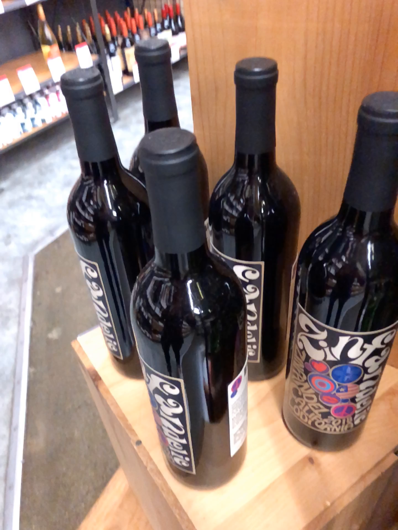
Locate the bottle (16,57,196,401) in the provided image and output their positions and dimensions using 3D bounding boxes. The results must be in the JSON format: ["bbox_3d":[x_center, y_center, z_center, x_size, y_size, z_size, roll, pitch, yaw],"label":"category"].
[{"bbox_3d":[-0.067,-0.010,0.399,0.077,0.304,0.080,-3,40,3],"label":"bottle"}]

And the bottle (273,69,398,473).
[{"bbox_3d":[0.108,0.033,0.322,0.080,0.310,0.077,-3,40,3],"label":"bottle"}]

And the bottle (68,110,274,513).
[{"bbox_3d":[-0.006,0.057,0.295,0.070,0.286,0.073,-3,40,3],"label":"bottle"}]

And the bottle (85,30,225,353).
[{"bbox_3d":[-0.026,-0.044,0.398,0.080,0.280,0.077,-3,40,3],"label":"bottle"}]

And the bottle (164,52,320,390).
[{"bbox_3d":[0.039,-0.017,0.365,0.080,0.274,0.077,-3,40,3],"label":"bottle"}]
